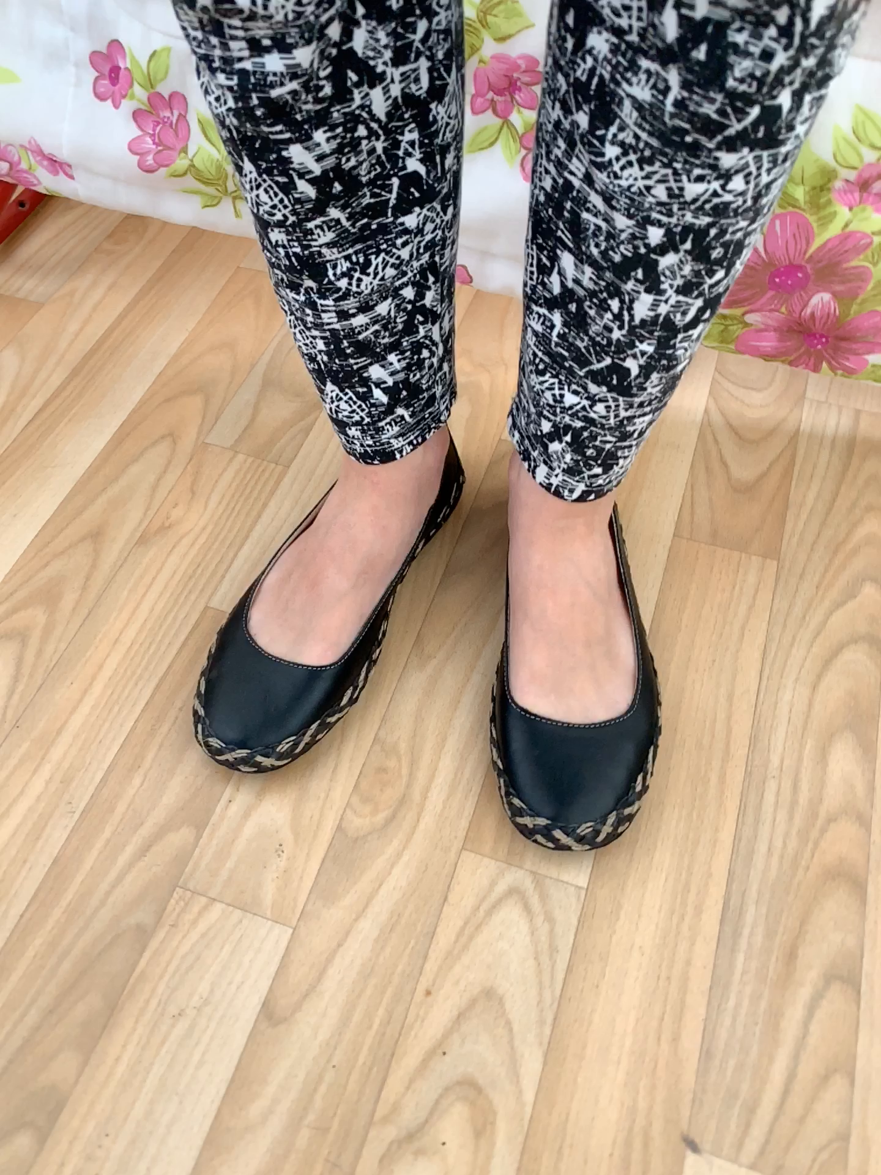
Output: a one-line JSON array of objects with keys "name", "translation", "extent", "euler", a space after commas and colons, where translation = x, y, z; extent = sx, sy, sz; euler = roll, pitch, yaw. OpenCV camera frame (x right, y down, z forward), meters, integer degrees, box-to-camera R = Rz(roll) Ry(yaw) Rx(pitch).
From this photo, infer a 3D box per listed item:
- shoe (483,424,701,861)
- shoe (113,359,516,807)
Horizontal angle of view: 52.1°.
[{"name": "shoe", "translation": [0.080, 0.019, 0.515], "extent": [0.100, 0.060, 0.251], "euler": [3, 55, 3]}, {"name": "shoe", "translation": [-0.060, -0.016, 0.542], "extent": [0.100, 0.070, 0.265], "euler": [24, 59, 17]}]
